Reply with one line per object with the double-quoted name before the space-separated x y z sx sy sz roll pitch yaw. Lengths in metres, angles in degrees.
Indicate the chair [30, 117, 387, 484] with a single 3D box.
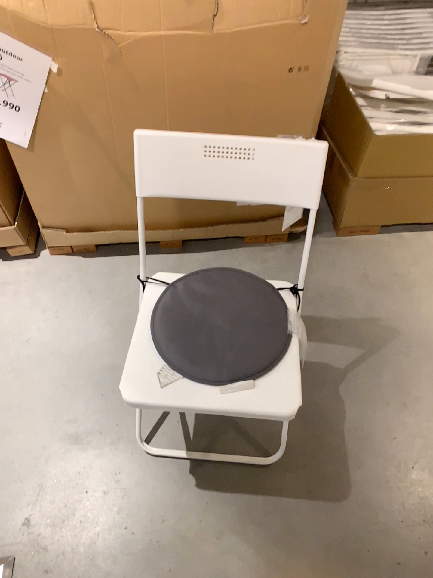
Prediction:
"chair" -0.002 0.082 1.037 0.490 0.738 0.481 5 51 2
